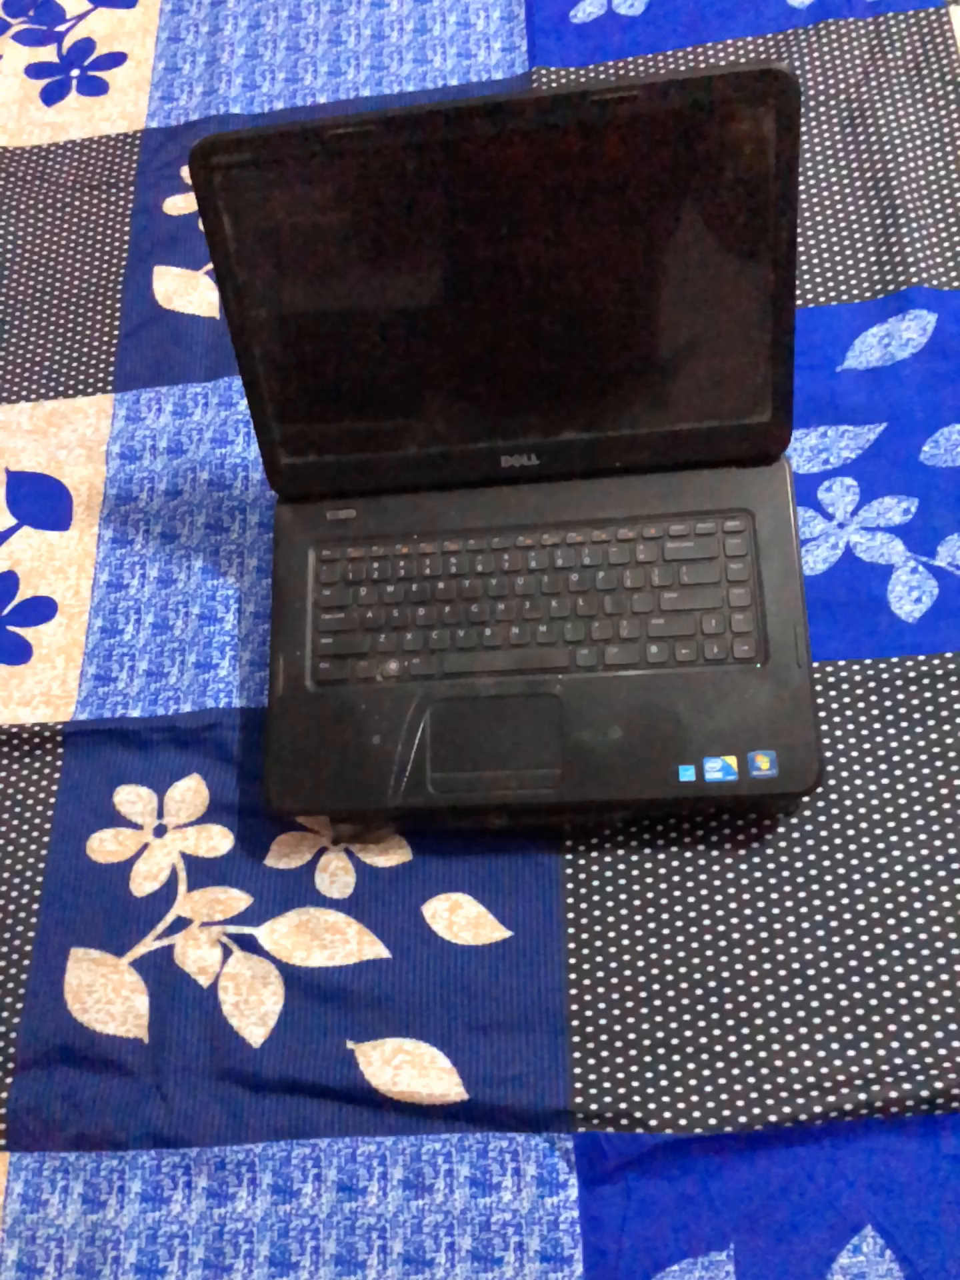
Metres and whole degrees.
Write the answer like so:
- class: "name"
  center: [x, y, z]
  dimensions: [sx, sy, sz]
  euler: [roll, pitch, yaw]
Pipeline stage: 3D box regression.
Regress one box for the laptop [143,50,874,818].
- class: "laptop"
  center: [0.019, -0.113, 0.666]
  dimensions: [0.363, 0.187, 0.389]
  euler: [-4, 71, 7]
